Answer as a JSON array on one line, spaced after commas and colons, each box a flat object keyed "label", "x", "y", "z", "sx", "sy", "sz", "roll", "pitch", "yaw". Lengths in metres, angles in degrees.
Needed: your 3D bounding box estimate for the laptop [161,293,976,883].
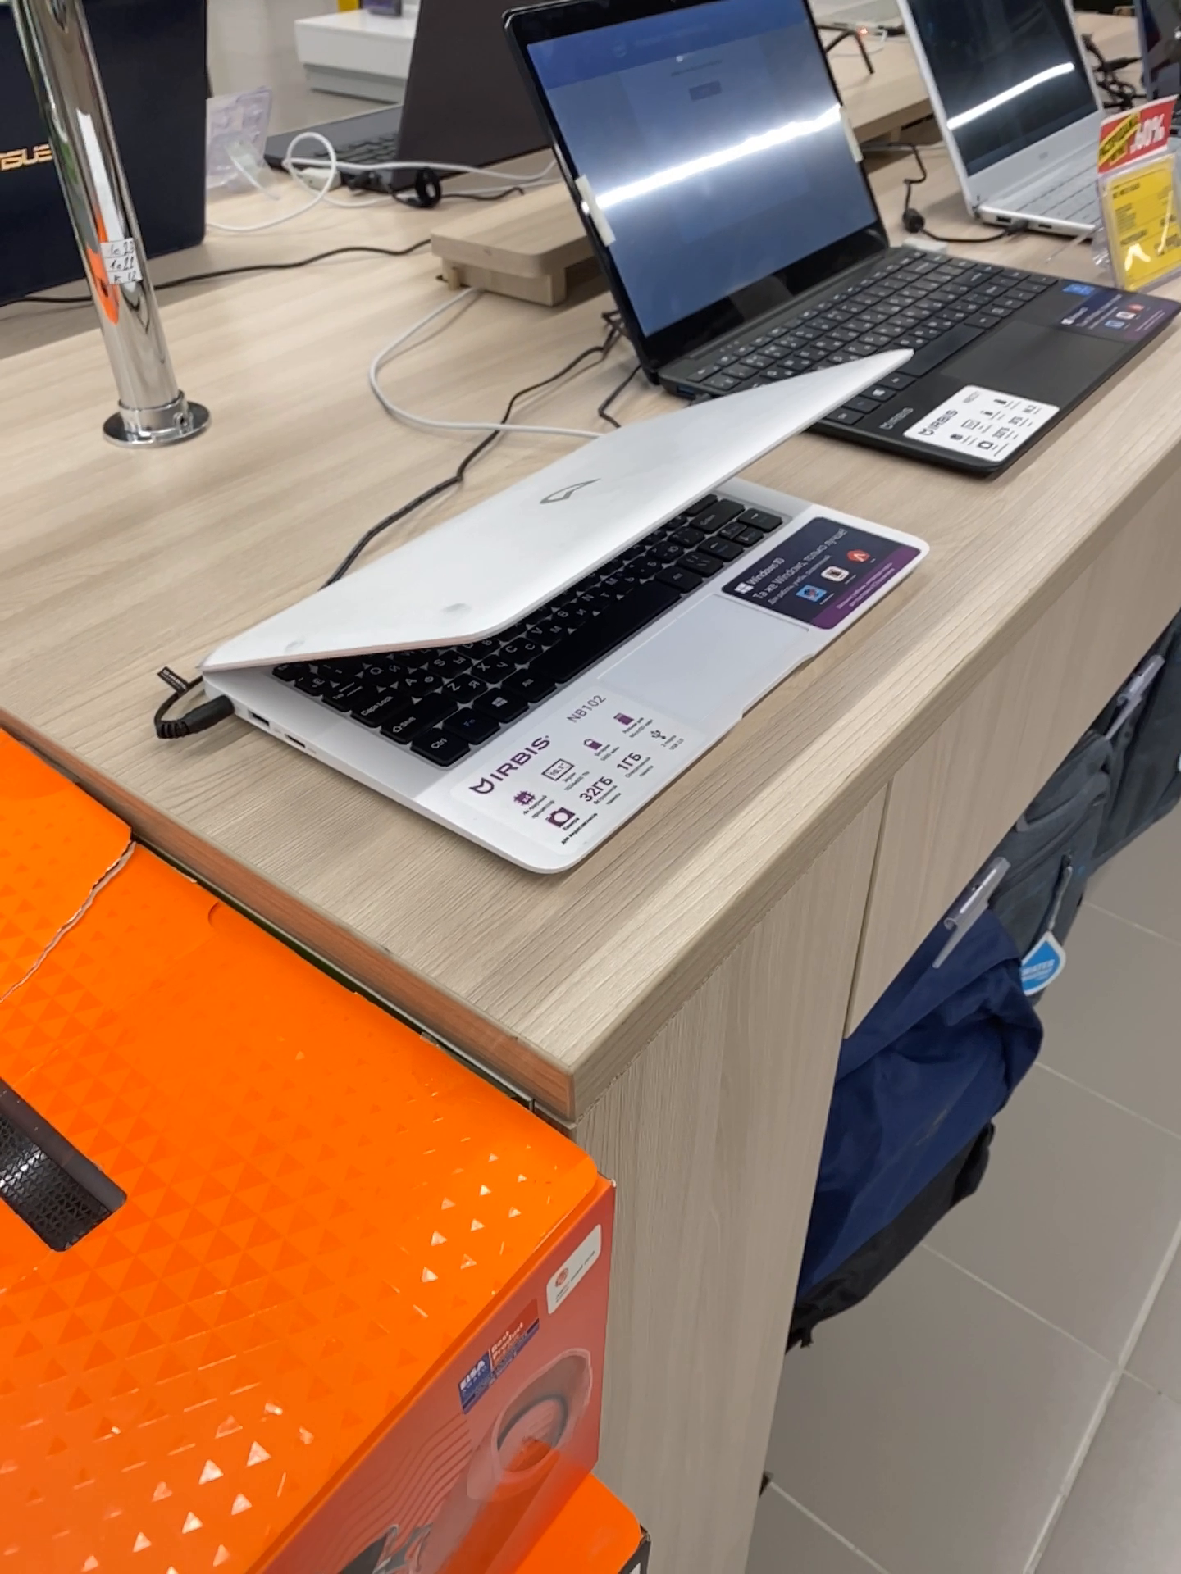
[{"label": "laptop", "x": 0.006, "y": -0.106, "z": 0.490, "sx": 0.178, "sy": 0.078, "sz": 0.280, "roll": 27, "pitch": 47, "yaw": 28}]
